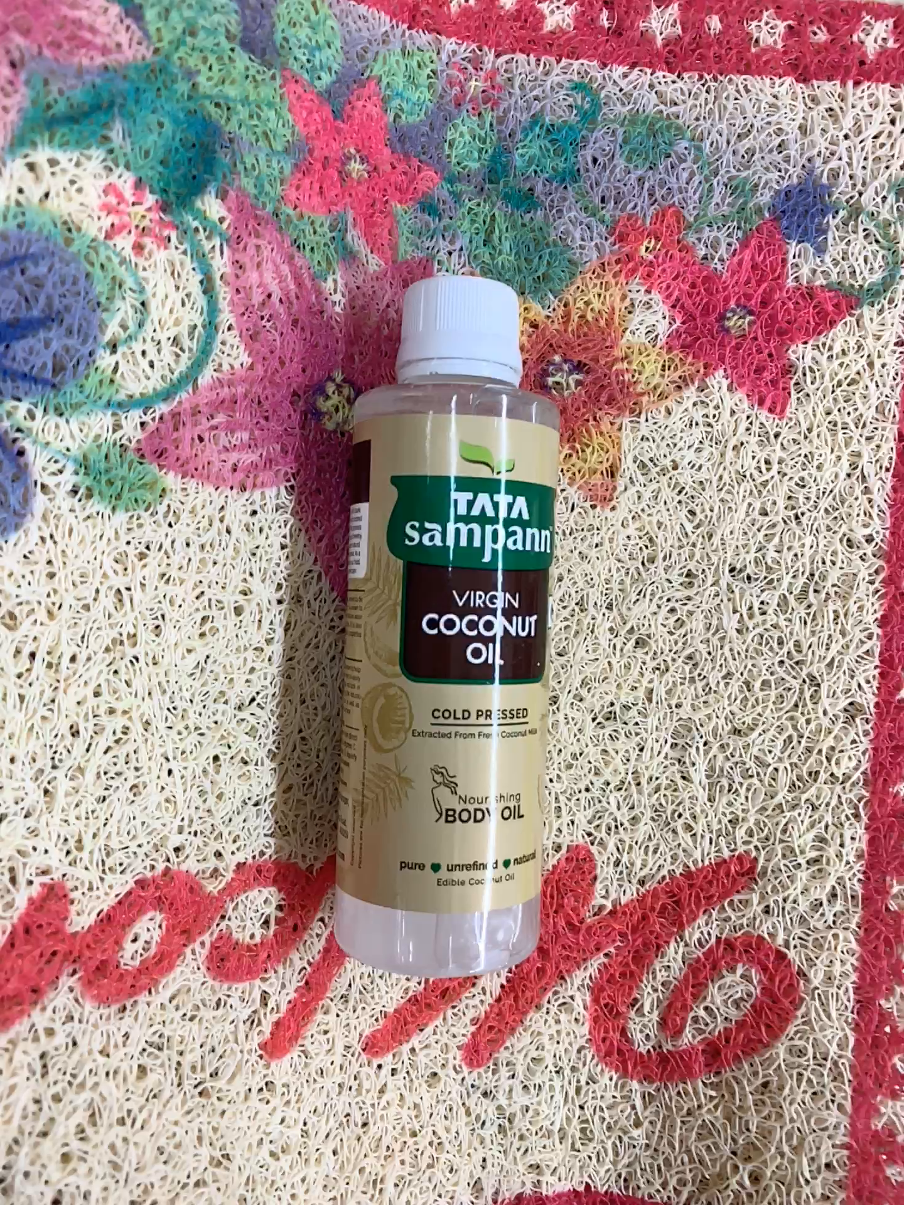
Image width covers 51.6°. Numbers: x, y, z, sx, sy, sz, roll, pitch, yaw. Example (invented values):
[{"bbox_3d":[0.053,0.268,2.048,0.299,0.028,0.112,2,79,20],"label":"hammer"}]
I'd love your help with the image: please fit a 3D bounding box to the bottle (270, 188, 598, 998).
[{"bbox_3d":[-0.004,-0.001,0.187,0.050,0.030,0.140,2,92,-29],"label":"bottle"}]
